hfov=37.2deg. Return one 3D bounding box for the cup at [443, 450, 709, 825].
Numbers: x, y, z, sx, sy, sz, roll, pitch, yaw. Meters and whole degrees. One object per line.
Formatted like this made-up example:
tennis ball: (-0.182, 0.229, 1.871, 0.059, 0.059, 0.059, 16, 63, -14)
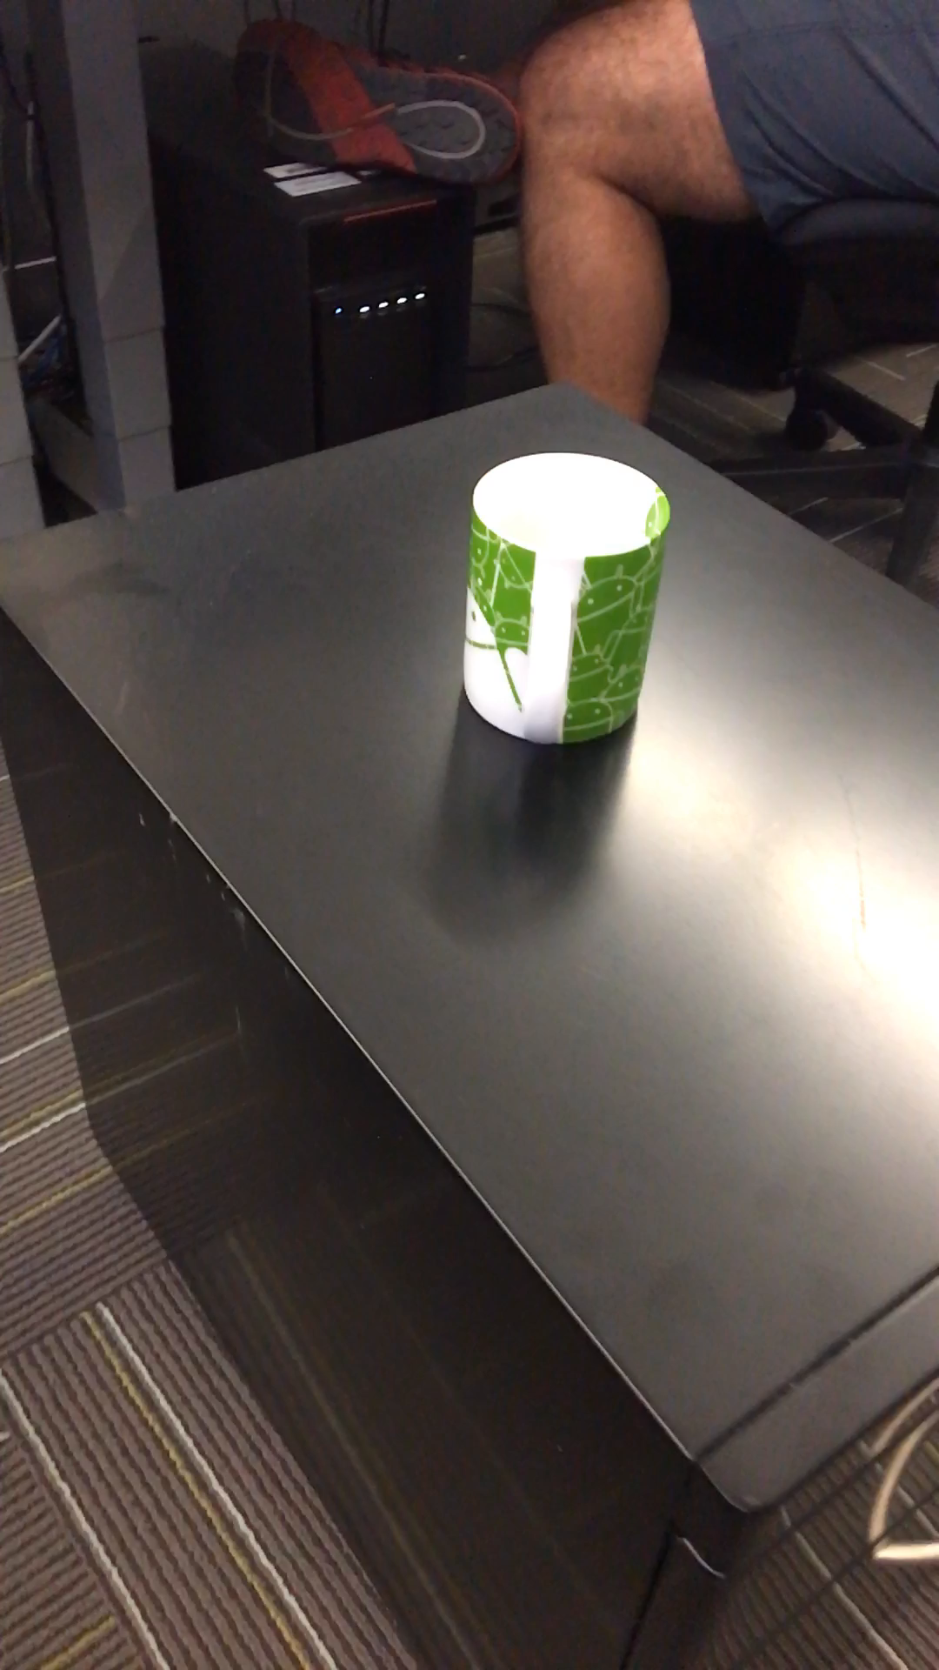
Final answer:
cup: (0.038, -0.085, 0.600, 0.090, 0.110, 0.120, 0, 43, -4)
